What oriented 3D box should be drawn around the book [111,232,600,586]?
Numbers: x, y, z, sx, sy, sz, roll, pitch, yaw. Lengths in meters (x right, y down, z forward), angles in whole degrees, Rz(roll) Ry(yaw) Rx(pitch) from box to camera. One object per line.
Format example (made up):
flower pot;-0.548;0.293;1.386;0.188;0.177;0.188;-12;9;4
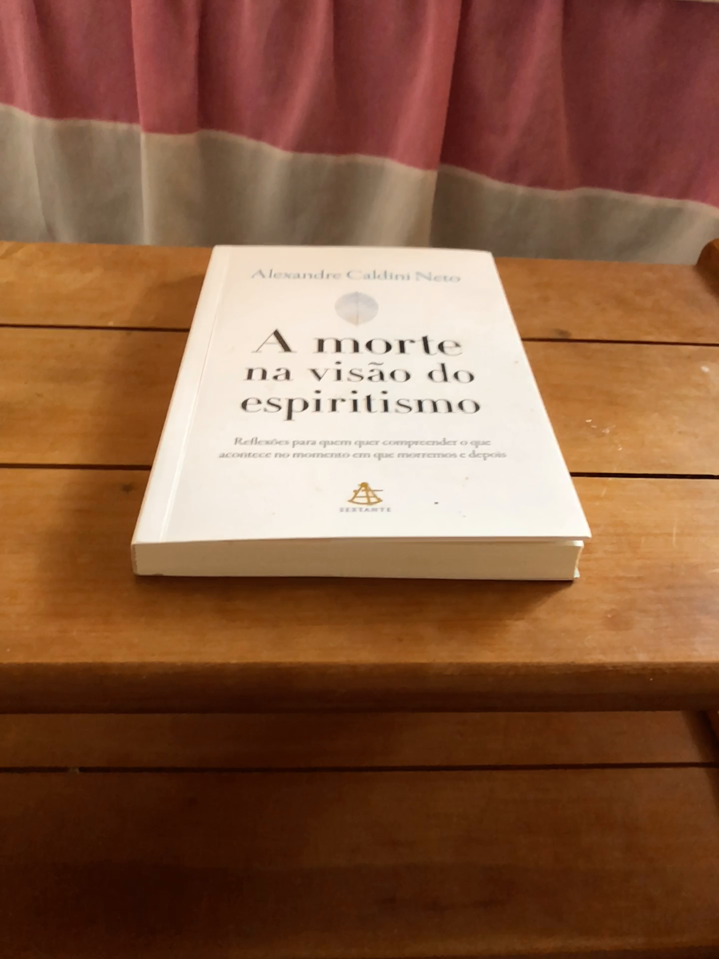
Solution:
book;-0.002;-0.041;0.302;0.135;0.020;0.197;1;40;-2
